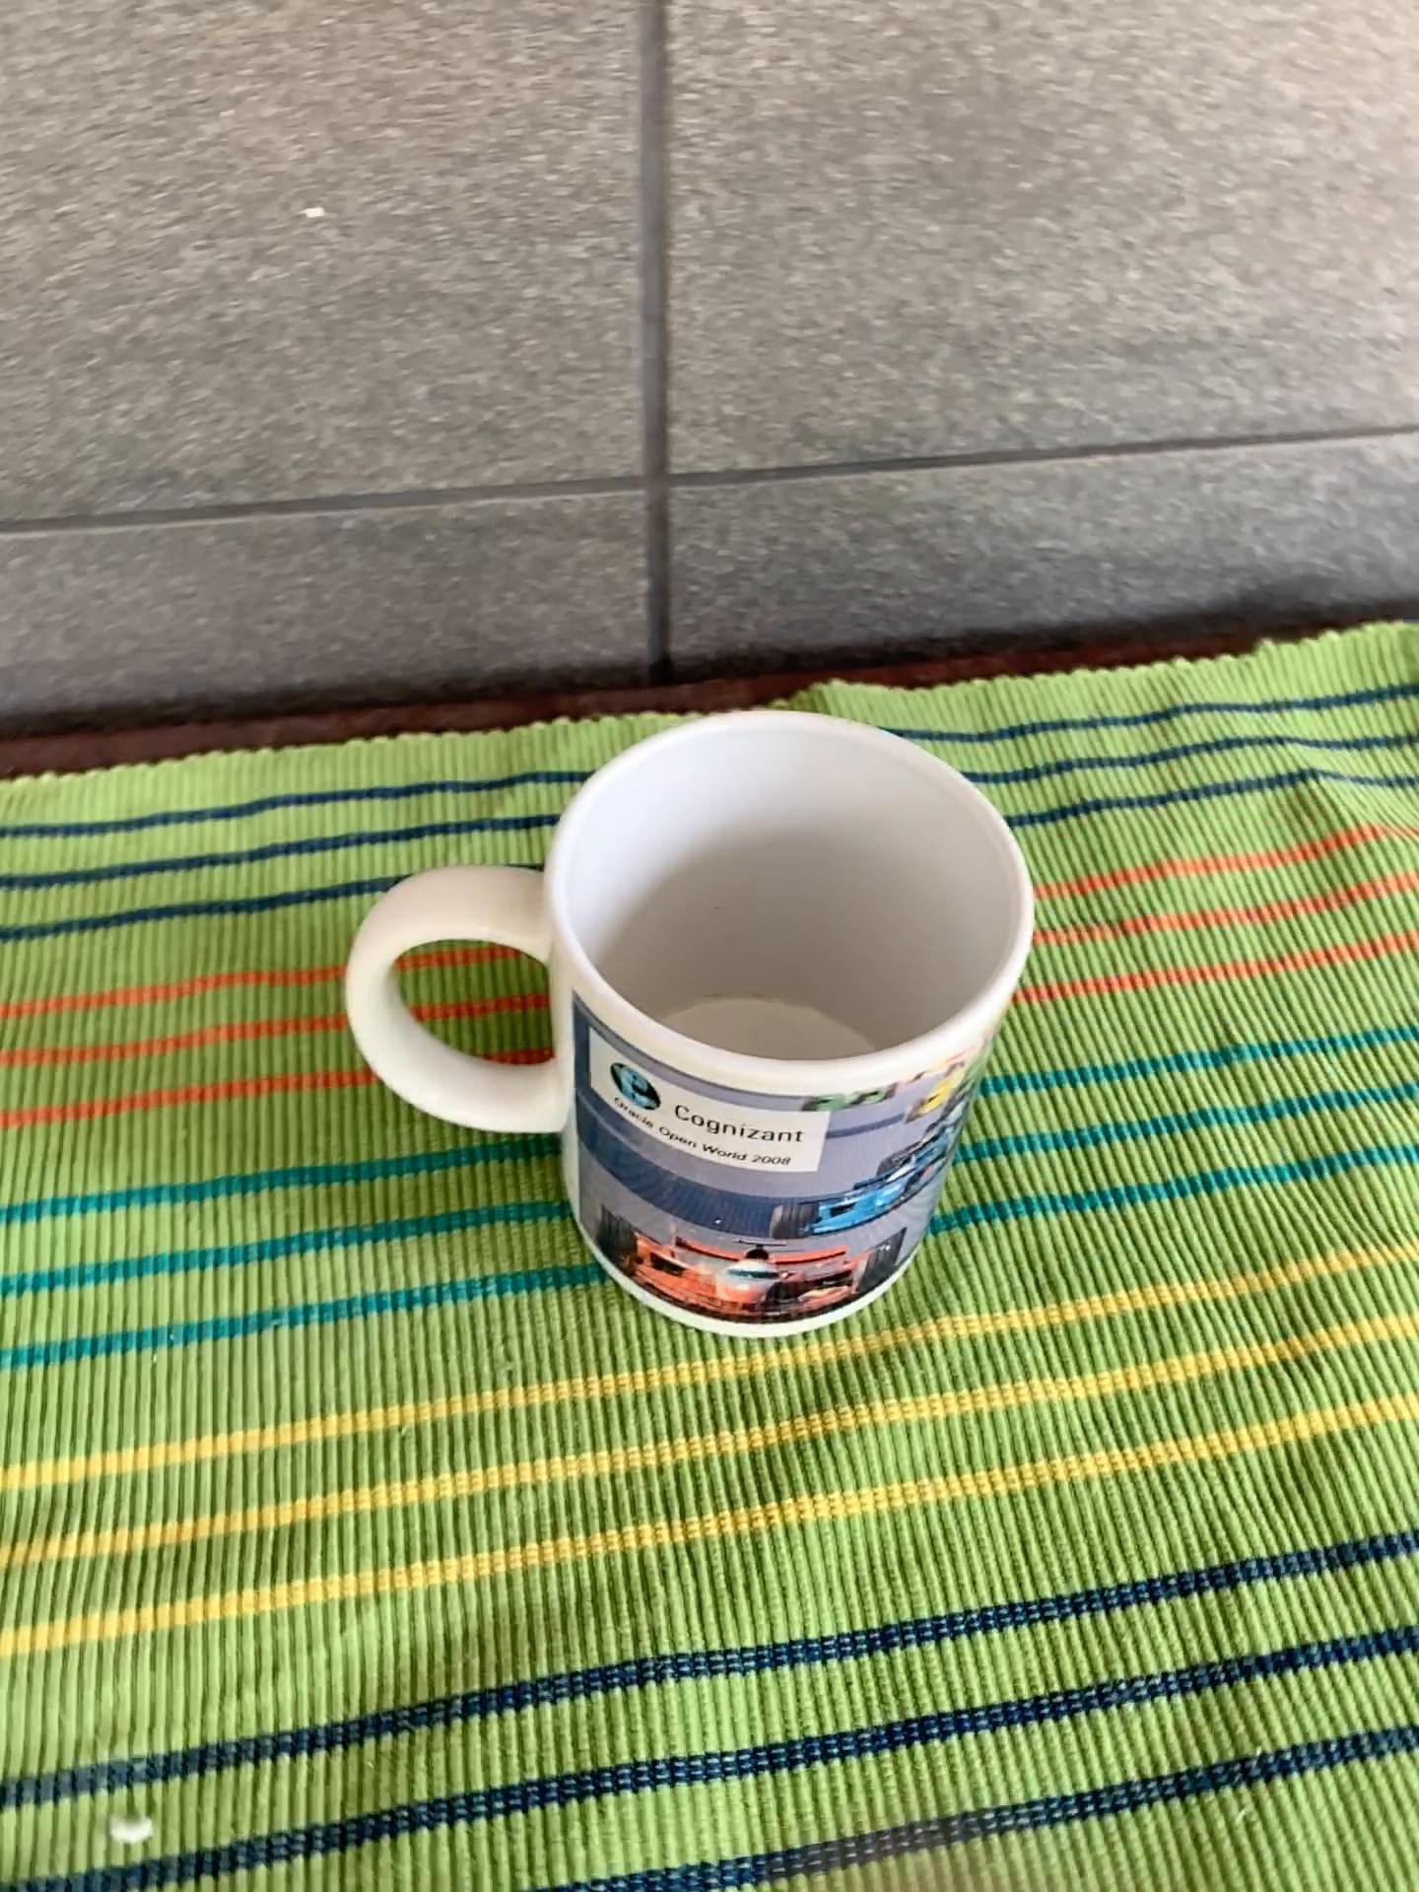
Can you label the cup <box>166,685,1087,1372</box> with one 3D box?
[{"bbox_3d":[-0.014,0.019,0.272,0.130,0.100,0.080,2,51,-3],"label":"cup"}]
